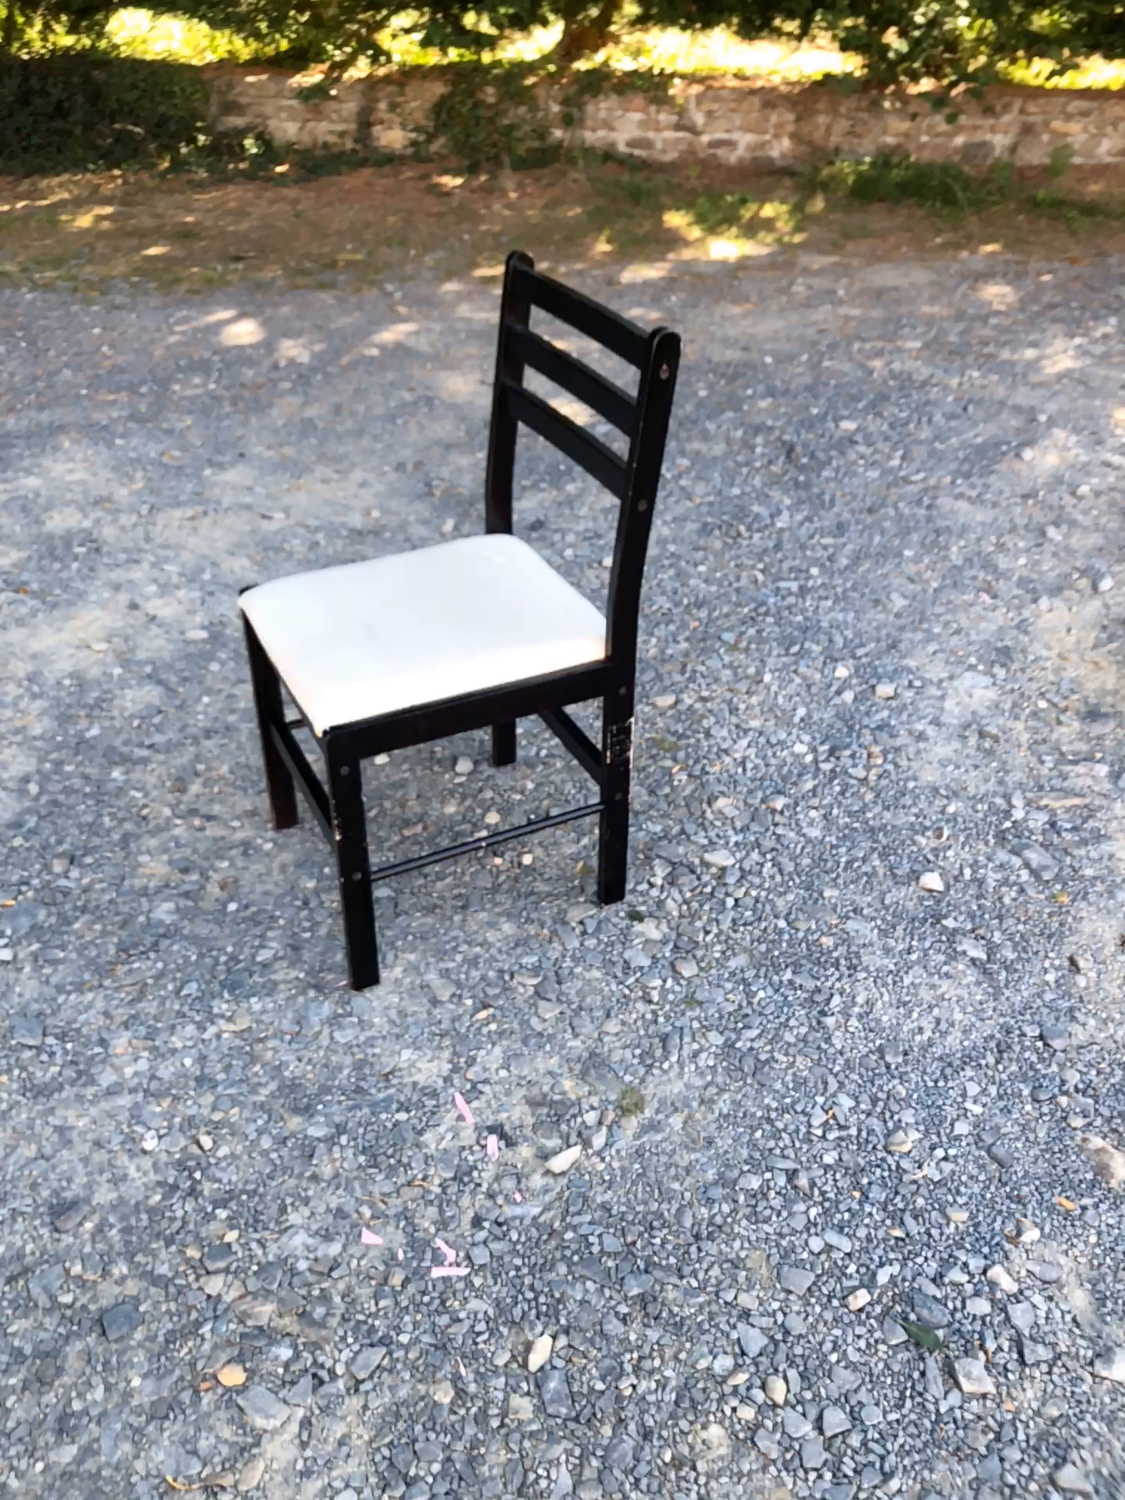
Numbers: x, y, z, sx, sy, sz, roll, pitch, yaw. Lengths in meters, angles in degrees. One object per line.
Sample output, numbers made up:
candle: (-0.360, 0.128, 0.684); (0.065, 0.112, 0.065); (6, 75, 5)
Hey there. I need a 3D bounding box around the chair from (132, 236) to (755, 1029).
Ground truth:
chair: (-0.160, -0.175, 1.634); (0.532, 0.775, 0.542); (-18, 40, -23)
